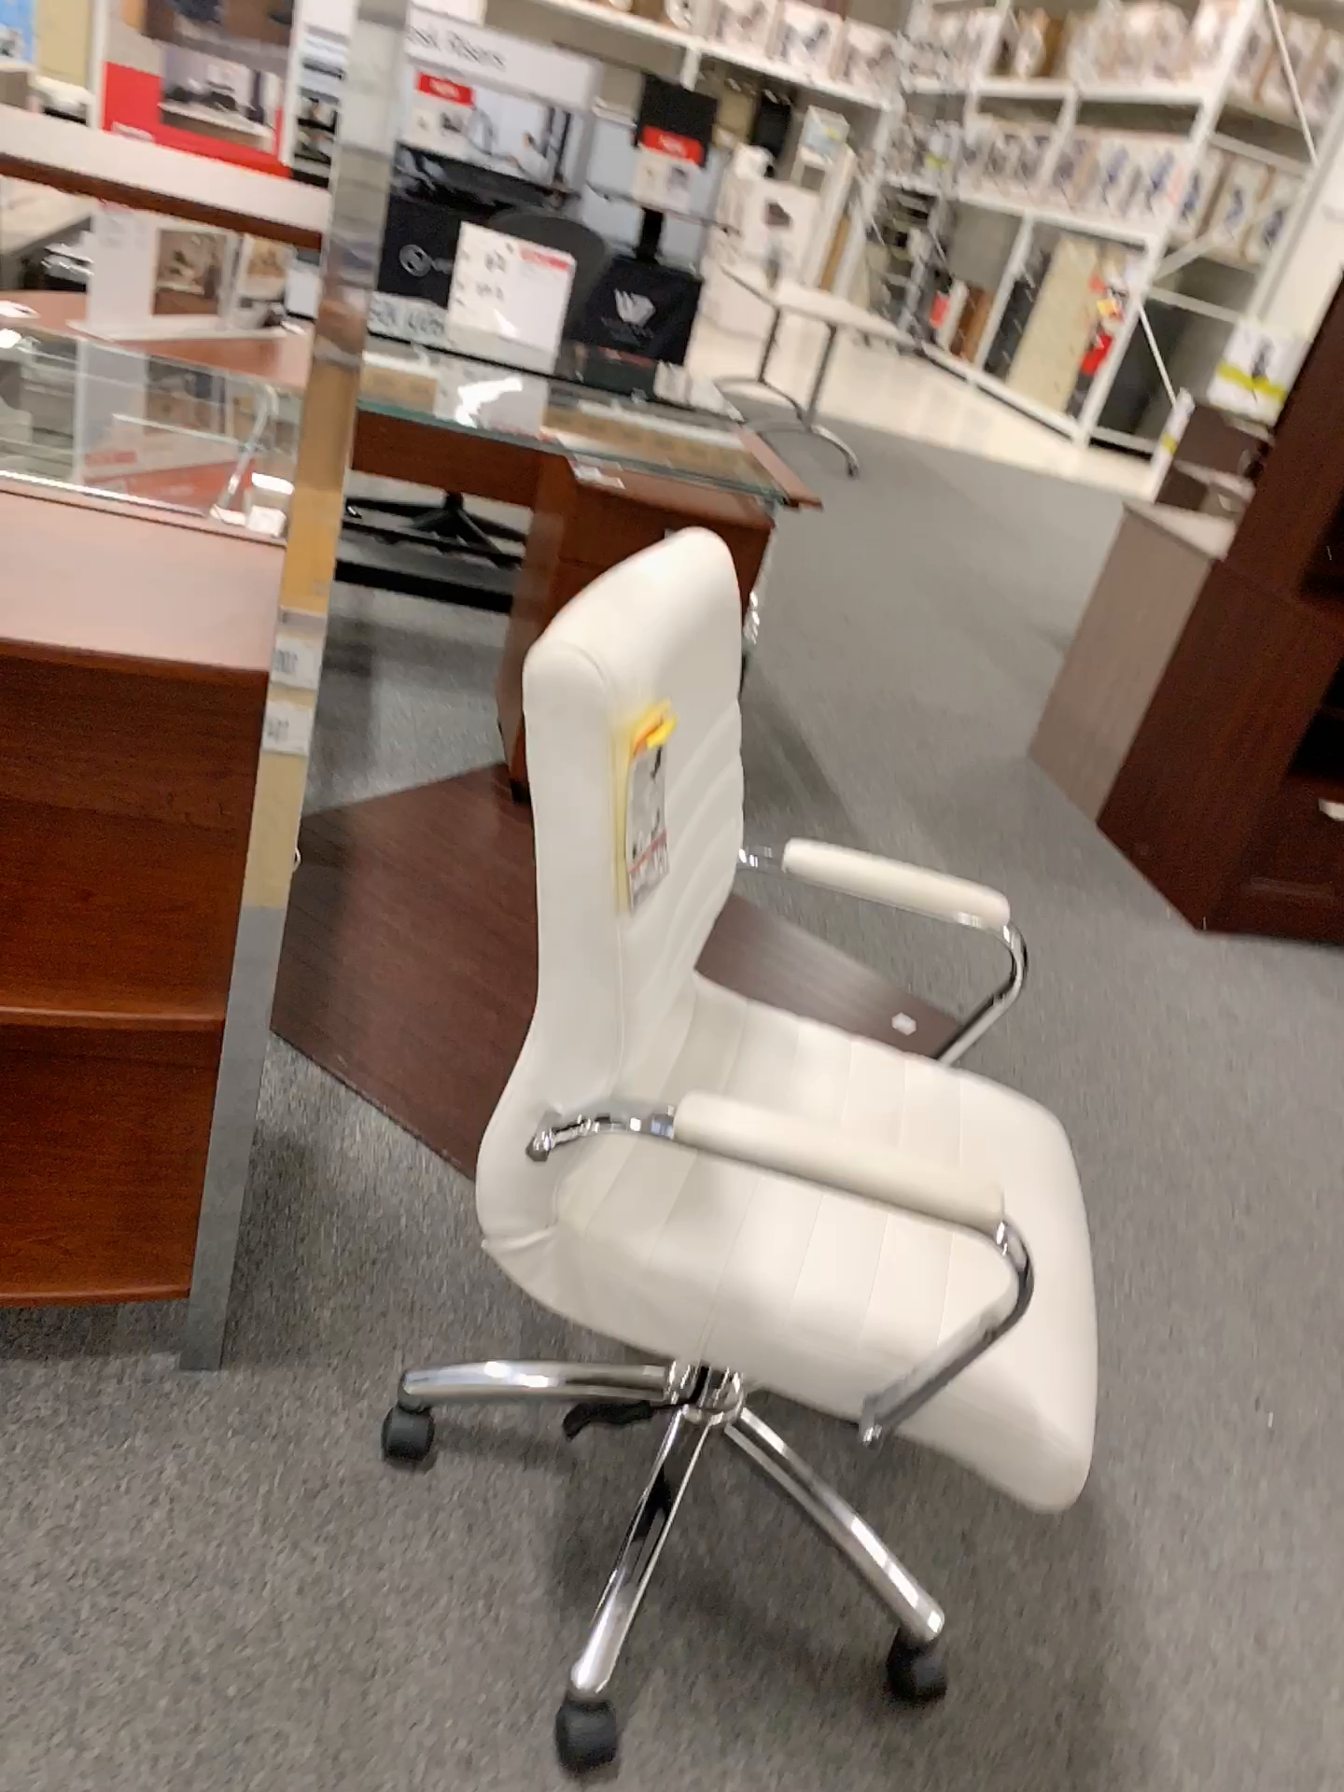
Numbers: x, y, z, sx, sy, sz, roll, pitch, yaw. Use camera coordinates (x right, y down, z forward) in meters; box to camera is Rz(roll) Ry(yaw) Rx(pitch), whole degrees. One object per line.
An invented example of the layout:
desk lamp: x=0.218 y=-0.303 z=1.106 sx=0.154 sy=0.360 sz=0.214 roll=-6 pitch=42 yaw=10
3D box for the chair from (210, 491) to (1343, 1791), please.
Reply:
chair: x=0.107 y=0.235 z=1.220 sx=0.680 sy=0.906 sz=0.623 roll=20 pitch=27 yaw=6
